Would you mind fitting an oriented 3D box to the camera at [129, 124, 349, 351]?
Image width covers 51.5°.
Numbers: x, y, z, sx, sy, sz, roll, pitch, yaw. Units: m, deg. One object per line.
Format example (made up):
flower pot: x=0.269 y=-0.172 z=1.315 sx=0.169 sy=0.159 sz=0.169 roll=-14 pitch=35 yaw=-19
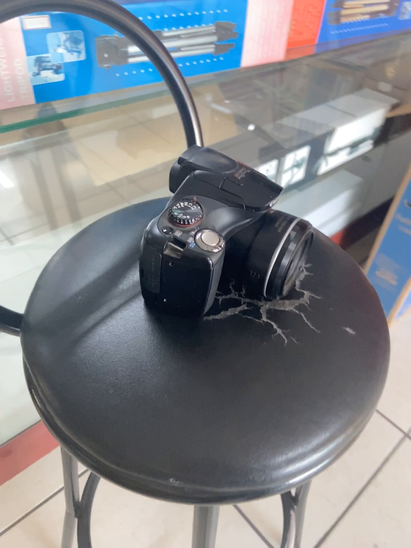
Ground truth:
camera: x=0.026 y=-0.035 z=0.319 sx=0.110 sy=0.089 sz=0.121 roll=22 pitch=45 yaw=18
